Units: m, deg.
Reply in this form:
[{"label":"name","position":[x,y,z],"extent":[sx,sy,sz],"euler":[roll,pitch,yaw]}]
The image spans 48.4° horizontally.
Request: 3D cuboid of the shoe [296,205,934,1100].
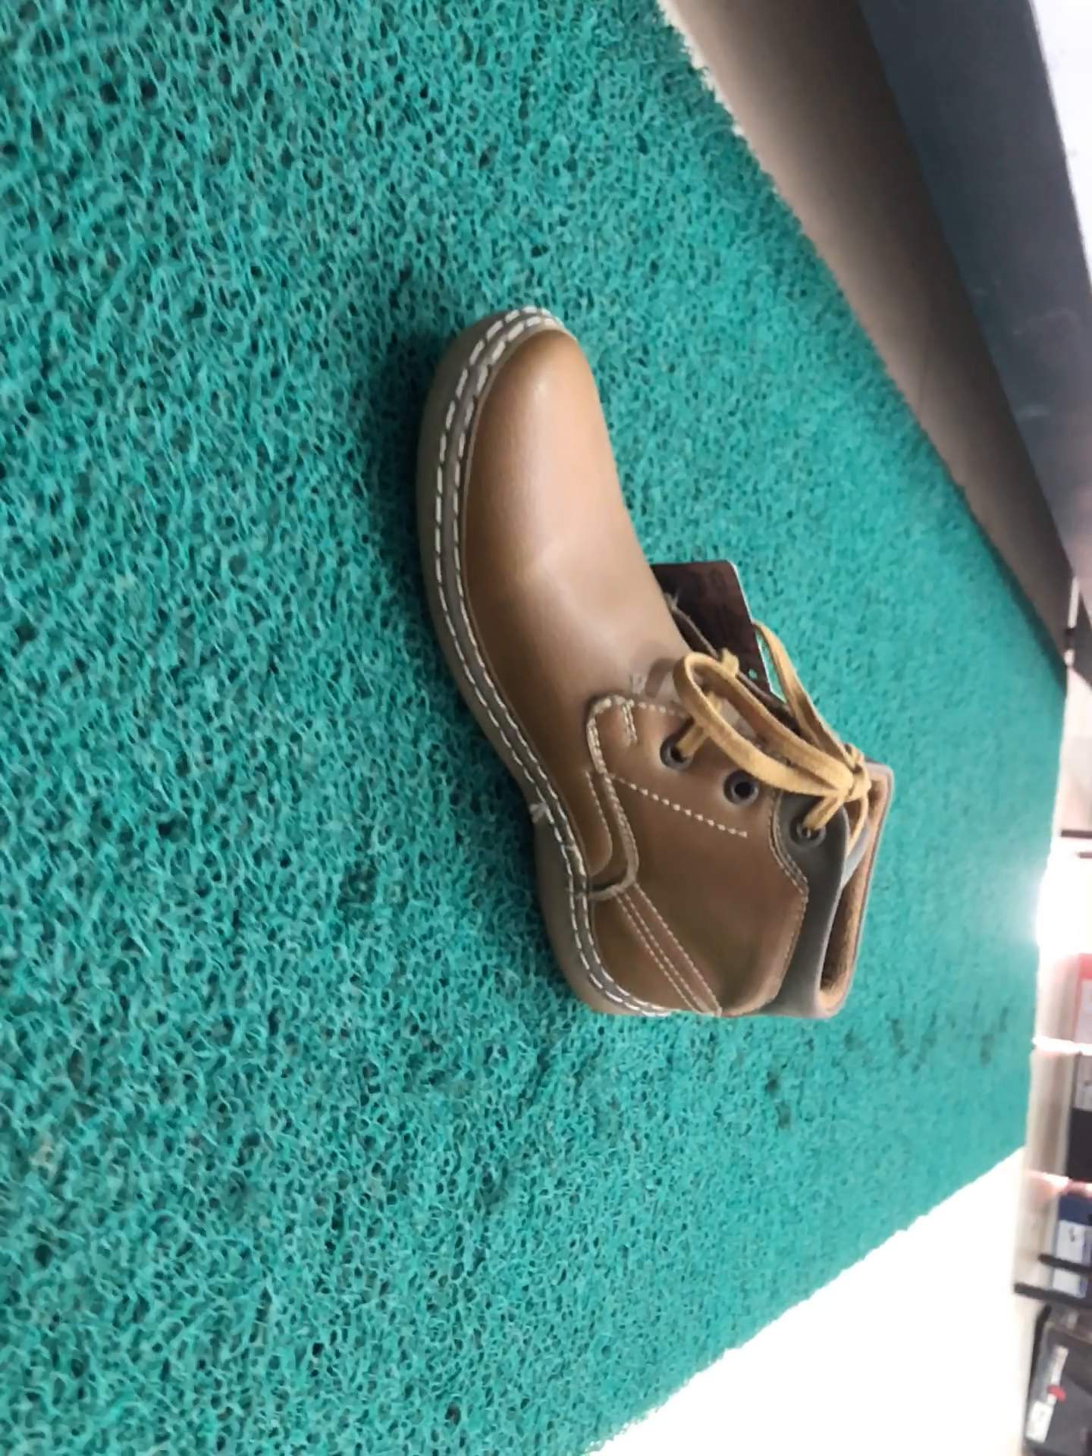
[{"label":"shoe","position":[0.046,-0.011,0.433],"extent":[0.100,0.129,0.291],"euler":[-55,137,-41]}]
